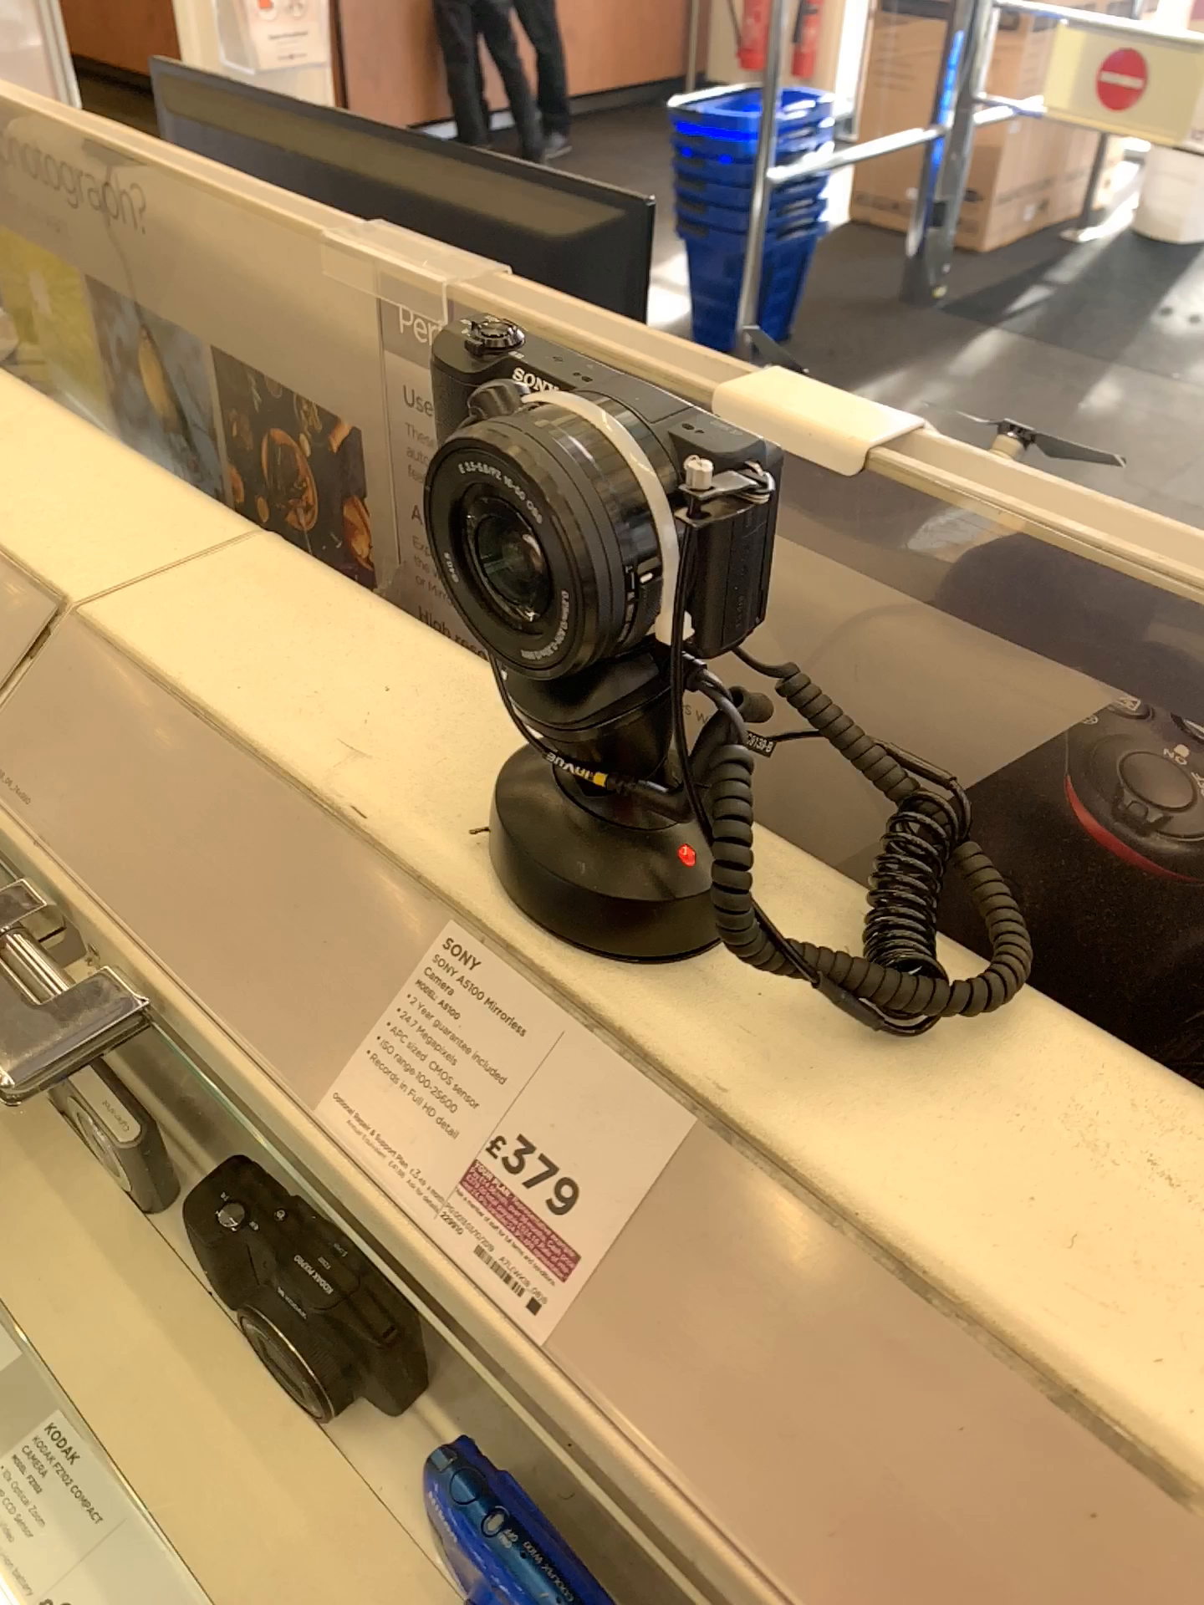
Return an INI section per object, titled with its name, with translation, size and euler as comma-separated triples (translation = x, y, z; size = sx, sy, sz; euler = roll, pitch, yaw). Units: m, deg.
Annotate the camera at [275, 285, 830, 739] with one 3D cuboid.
[camera]
translation = -0.016, -0.084, 0.330
size = 0.080, 0.059, 0.121
euler = -30, 49, -33
